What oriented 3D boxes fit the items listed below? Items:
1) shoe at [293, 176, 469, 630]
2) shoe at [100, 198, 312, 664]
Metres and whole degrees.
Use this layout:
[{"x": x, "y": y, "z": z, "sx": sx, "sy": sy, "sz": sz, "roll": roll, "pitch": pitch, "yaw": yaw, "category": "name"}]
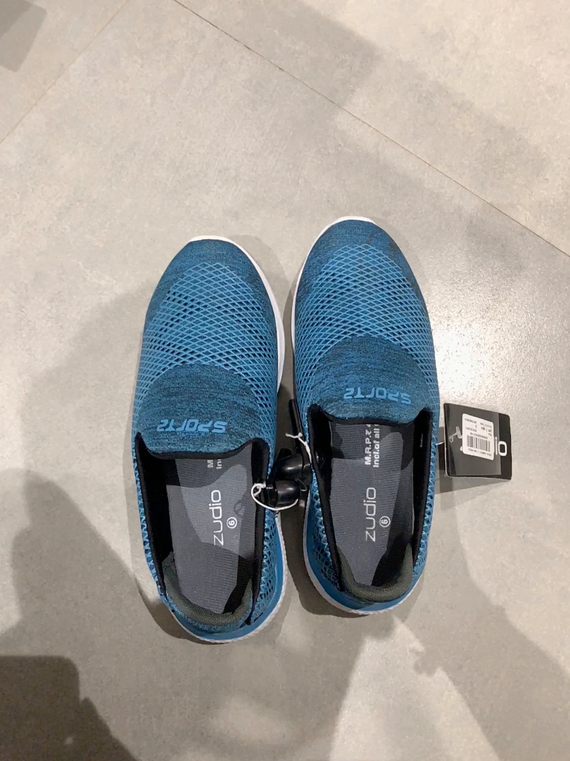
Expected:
[{"x": 0.050, "y": 0.011, "z": 0.360, "sx": 0.090, "sy": 0.080, "sz": 0.250, "roll": 0, "pitch": 80, "yaw": 1, "category": "shoe"}, {"x": -0.049, "y": 0.027, "z": 0.375, "sx": 0.110, "sy": 0.080, "sz": 0.260, "roll": -4, "pitch": 80, "yaw": 0, "category": "shoe"}]
